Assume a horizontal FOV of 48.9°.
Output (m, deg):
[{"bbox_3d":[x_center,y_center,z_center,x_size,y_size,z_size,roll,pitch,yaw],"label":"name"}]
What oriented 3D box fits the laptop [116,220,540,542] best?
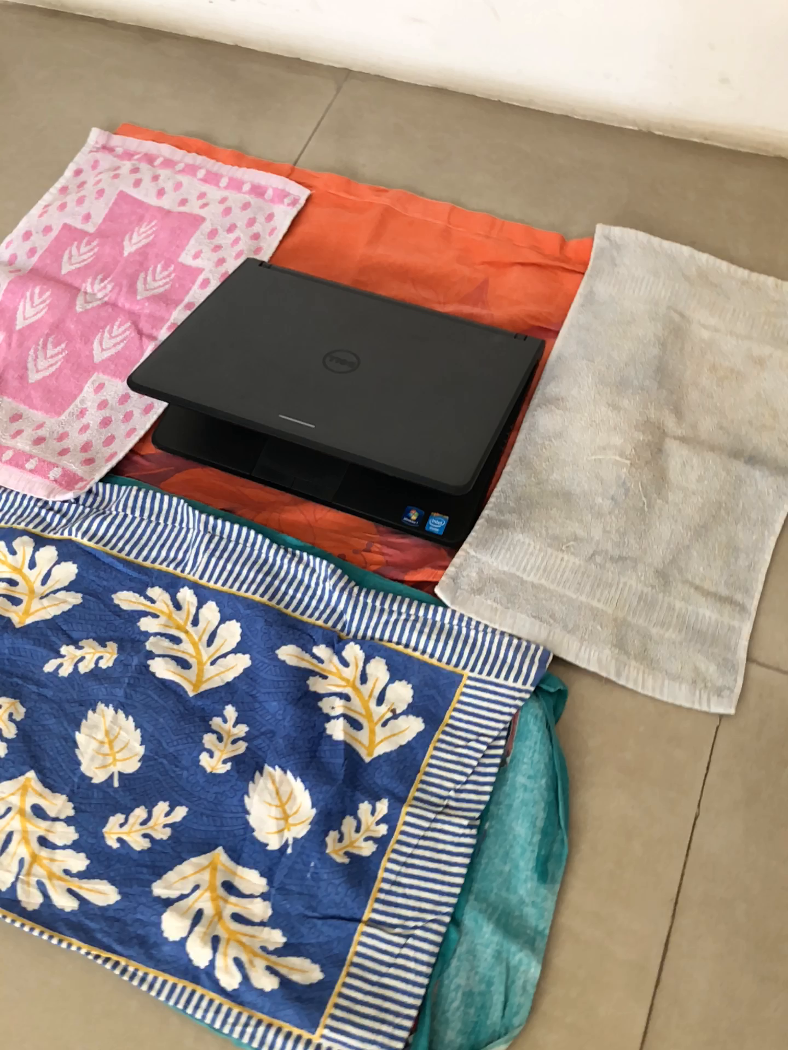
[{"bbox_3d":[-0.052,-0.143,0.807,0.314,0.078,0.227,18,65,13],"label":"laptop"}]
